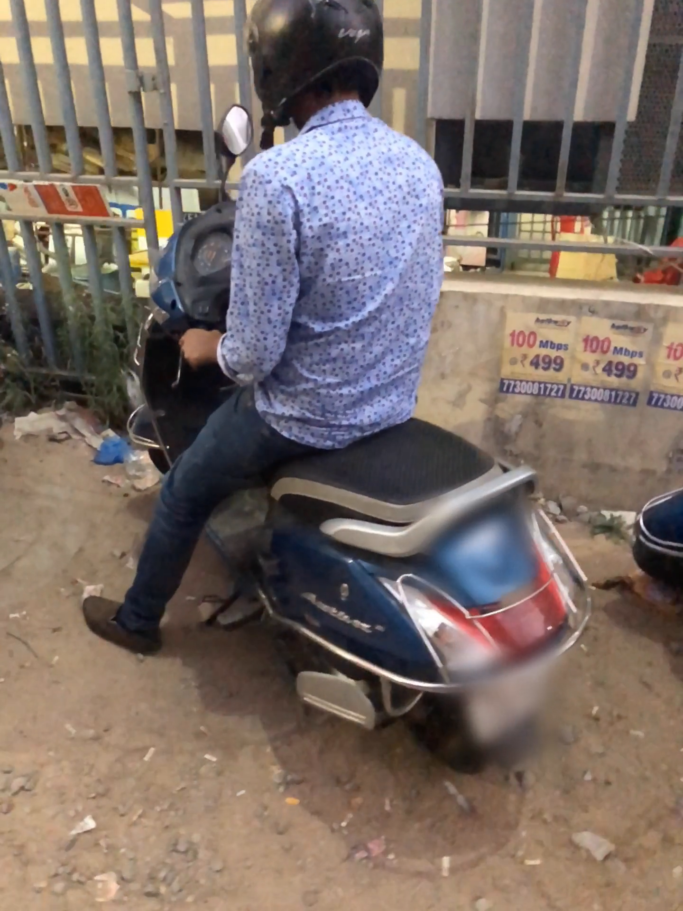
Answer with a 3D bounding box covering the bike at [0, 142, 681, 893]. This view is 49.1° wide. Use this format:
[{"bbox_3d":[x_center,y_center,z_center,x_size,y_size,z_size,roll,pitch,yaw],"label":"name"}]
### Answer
[{"bbox_3d":[-0.152,-0.022,1.846,0.618,1.130,1.473,-23,39,-37],"label":"bike"}]
